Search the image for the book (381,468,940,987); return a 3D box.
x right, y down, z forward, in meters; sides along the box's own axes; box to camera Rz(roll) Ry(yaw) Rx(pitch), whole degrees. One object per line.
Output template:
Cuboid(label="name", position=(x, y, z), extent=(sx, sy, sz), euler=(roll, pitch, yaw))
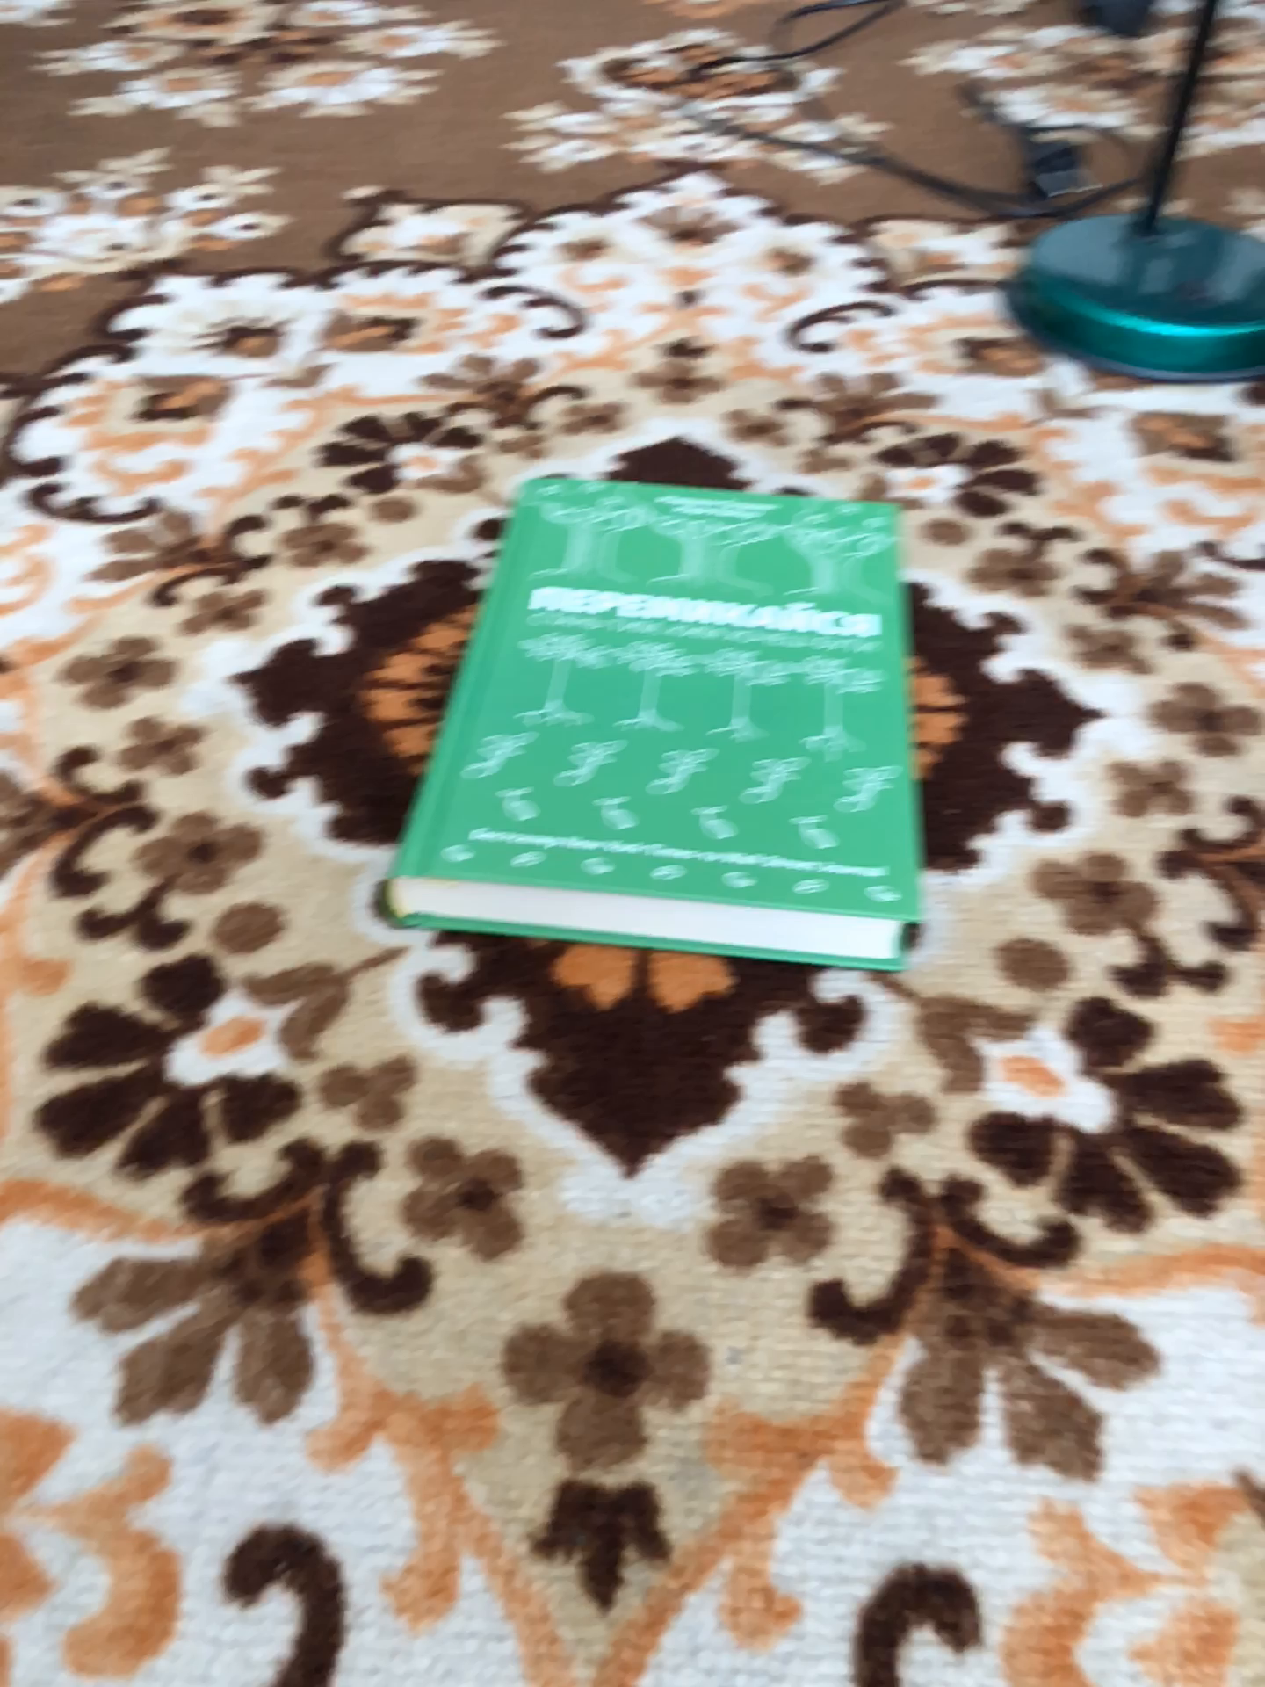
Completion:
Cuboid(label="book", position=(0.016, -0.048, 0.421), extent=(0.137, 0.023, 0.203), euler=(5, 44, 4))
